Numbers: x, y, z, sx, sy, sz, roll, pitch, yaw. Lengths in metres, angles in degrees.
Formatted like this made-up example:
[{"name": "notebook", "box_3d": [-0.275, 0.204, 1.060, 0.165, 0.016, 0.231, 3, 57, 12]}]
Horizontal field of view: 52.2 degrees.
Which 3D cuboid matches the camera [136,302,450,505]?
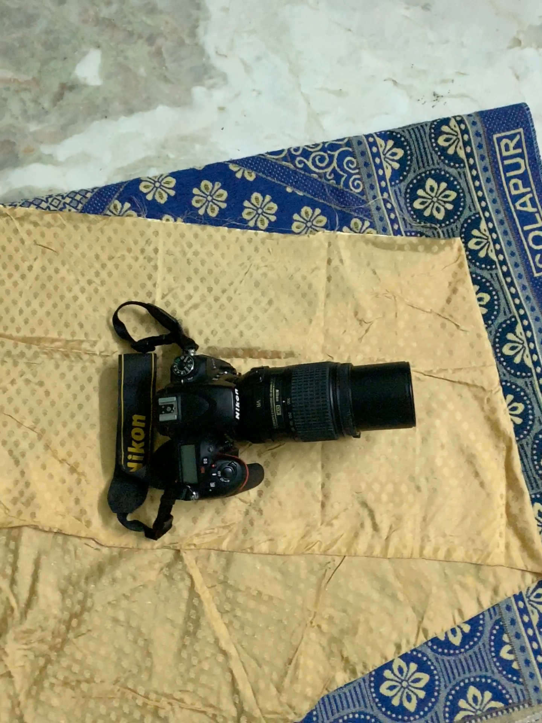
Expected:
[{"name": "camera", "box_3d": [0.025, 0.049, 0.522, 0.240, 0.180, 0.140, -6, 80, 11]}]
